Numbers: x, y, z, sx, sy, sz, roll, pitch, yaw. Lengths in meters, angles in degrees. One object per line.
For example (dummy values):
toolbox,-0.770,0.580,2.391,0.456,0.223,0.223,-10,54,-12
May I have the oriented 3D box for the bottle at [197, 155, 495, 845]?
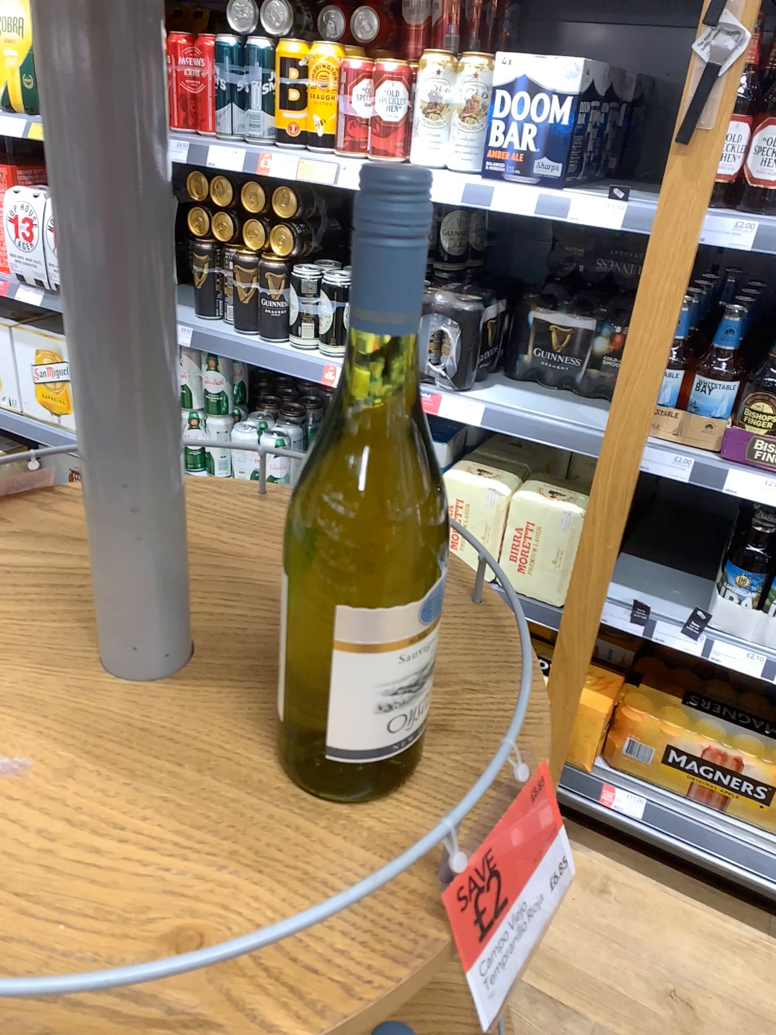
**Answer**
bottle,-0.023,0.001,0.349,0.080,0.284,0.081,4,28,-2
